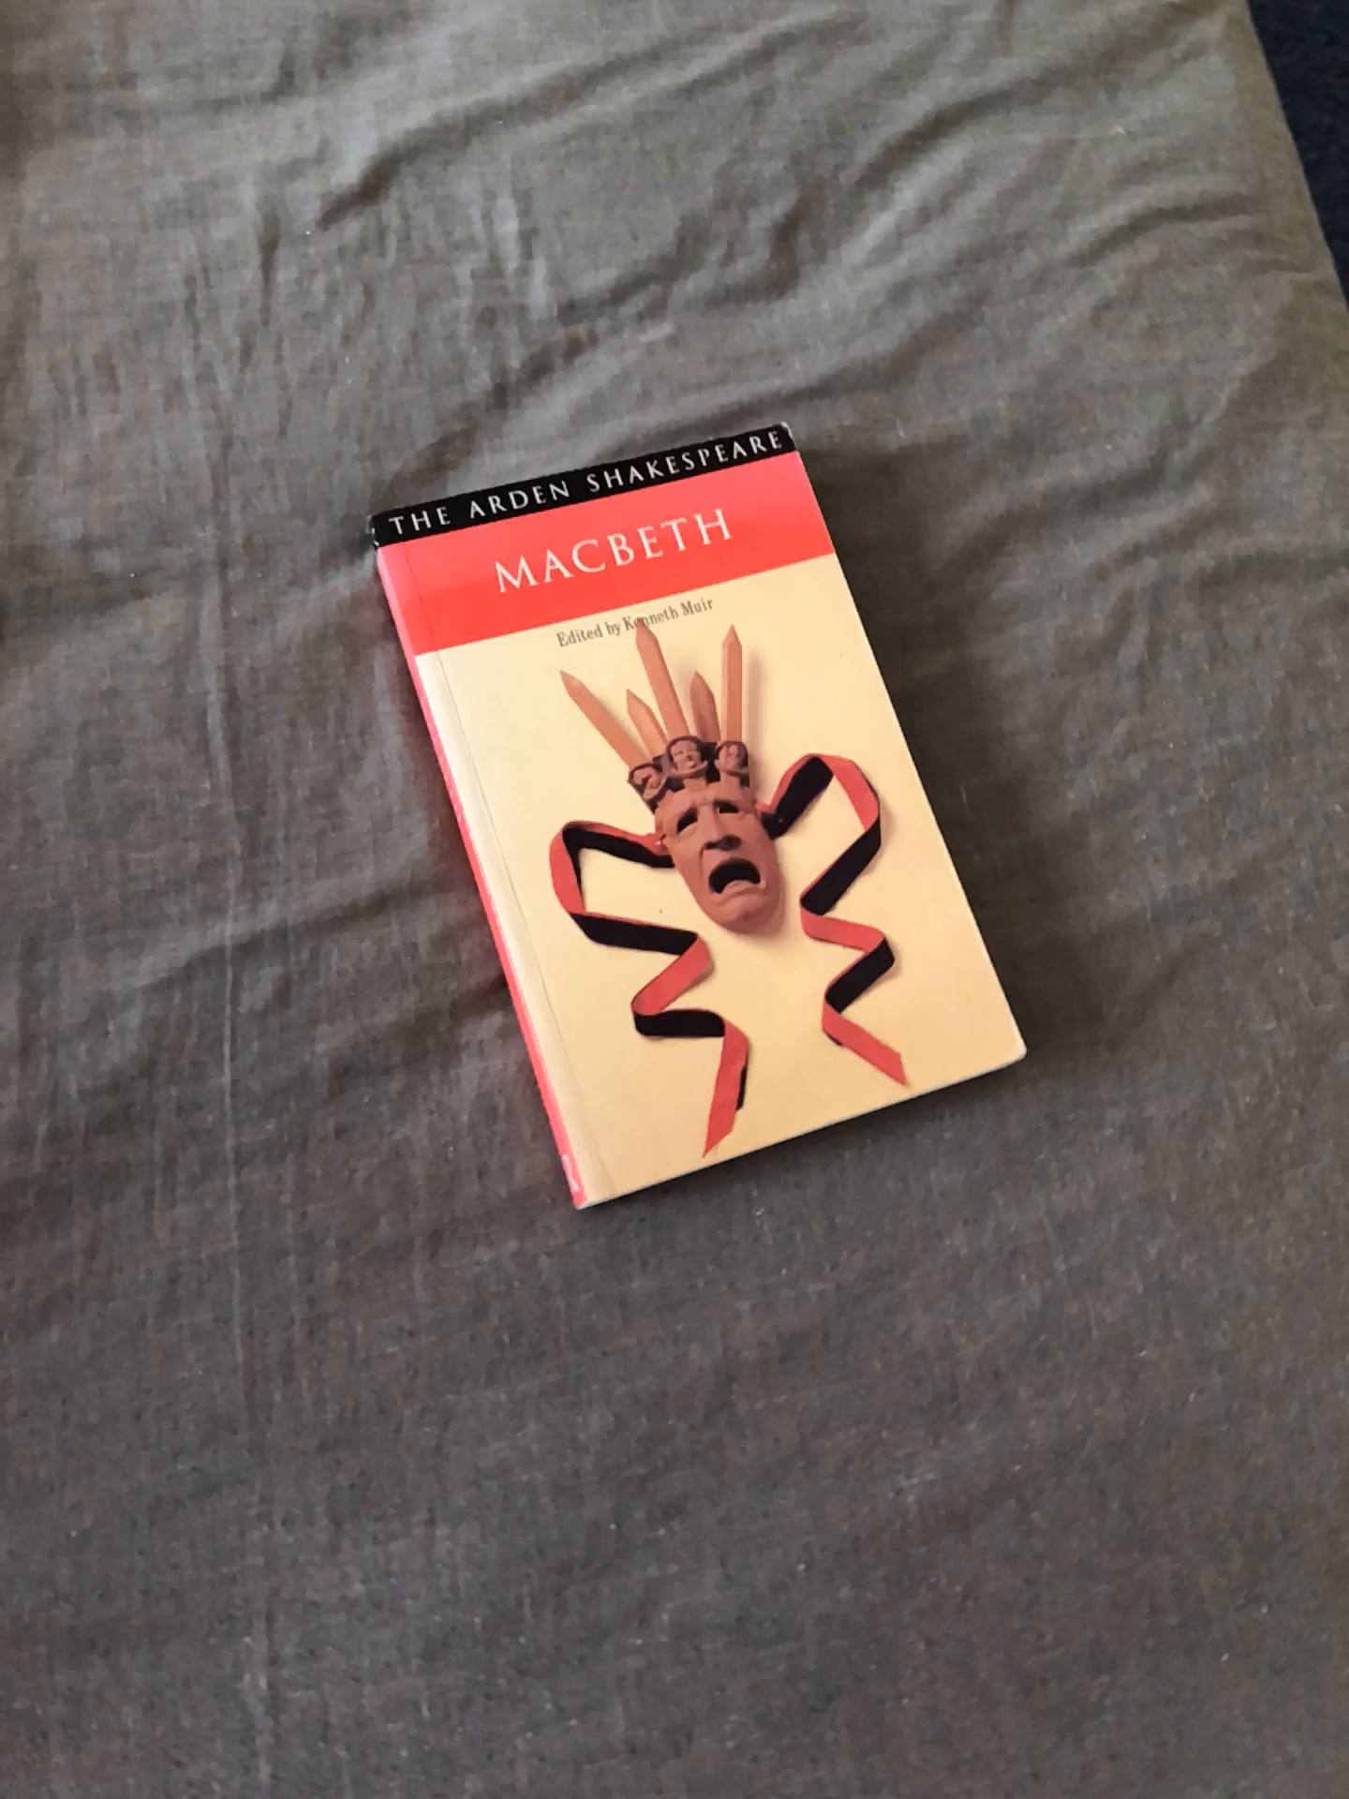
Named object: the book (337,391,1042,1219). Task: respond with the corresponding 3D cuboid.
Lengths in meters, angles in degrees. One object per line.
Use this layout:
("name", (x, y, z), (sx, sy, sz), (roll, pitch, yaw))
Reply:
("book", (0.001, -0.032, 0.401), (0.130, 0.020, 0.200), (-16, 77, -11))
